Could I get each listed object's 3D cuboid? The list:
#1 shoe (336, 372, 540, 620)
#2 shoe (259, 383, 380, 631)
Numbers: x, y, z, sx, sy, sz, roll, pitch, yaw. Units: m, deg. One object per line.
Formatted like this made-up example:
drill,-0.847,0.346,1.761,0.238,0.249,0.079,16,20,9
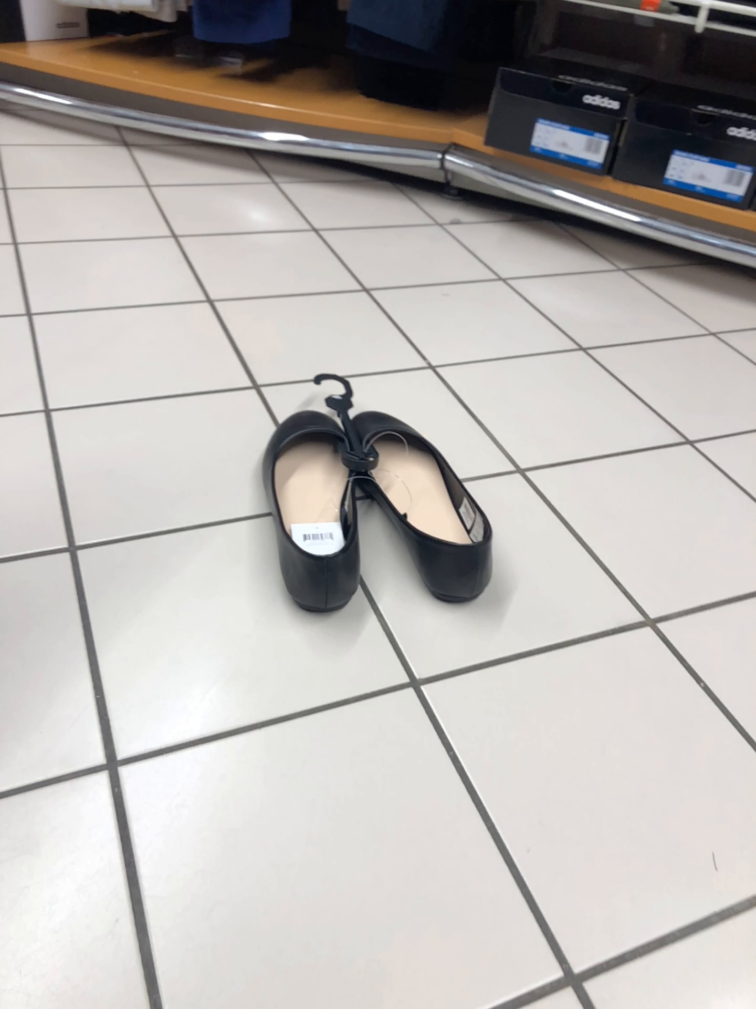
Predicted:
shoe,0.038,-0.020,0.699,0.080,0.060,0.251,-7,40,-18
shoe,-0.056,-0.010,0.688,0.080,0.060,0.251,0,38,-9
